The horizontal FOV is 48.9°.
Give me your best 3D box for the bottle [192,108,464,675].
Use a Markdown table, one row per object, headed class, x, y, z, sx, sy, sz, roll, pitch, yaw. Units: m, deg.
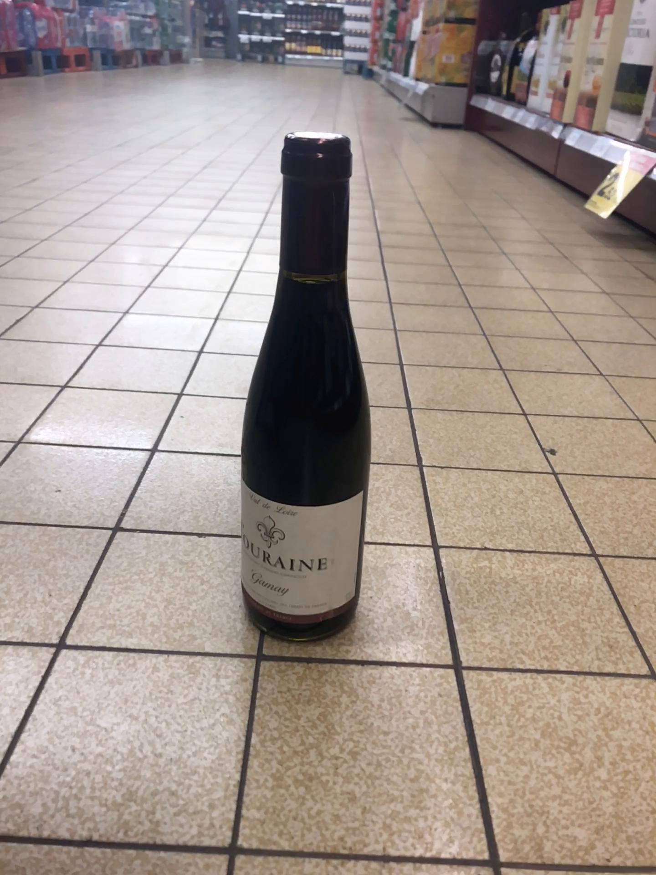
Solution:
| class | x | y | z | sx | sy | sz | roll | pitch | yaw |
| --- | --- | --- | --- | --- | --- | --- | --- | --- | --- |
| bottle | -0.007 | -0.019 | 0.335 | 0.080 | 0.239 | 0.070 | 23 | 33 | 33 |
